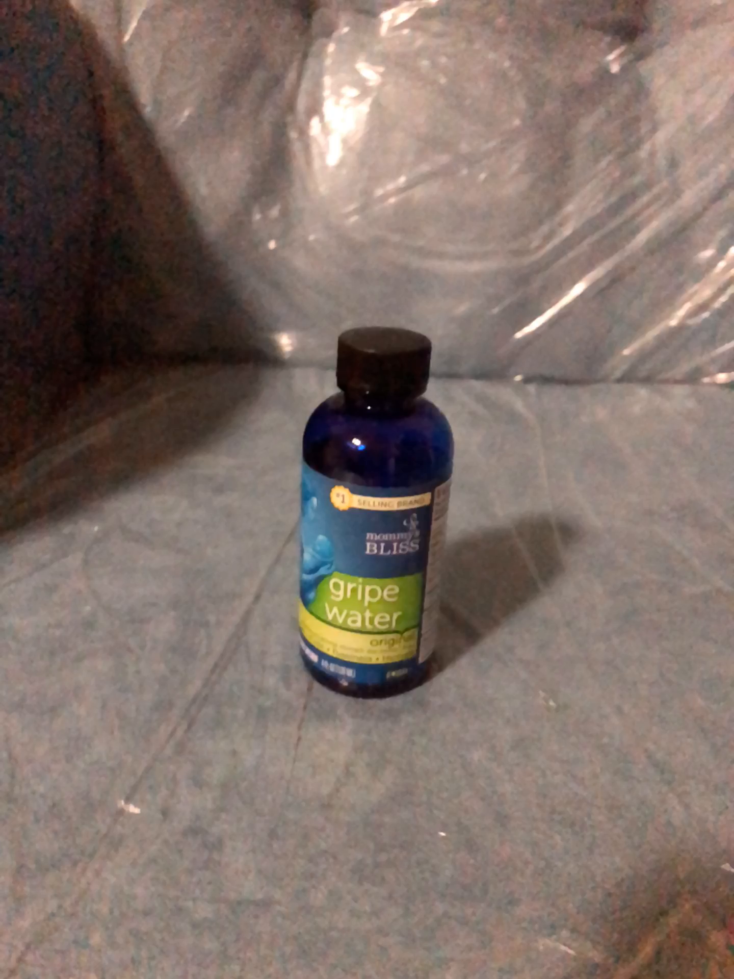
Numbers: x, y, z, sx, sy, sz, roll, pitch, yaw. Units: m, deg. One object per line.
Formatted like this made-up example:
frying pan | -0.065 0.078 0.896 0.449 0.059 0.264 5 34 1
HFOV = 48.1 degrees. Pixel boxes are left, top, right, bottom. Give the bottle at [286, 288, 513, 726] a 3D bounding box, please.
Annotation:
bottle | 0.008 0.006 0.257 0.050 0.120 0.050 2 28 -1
